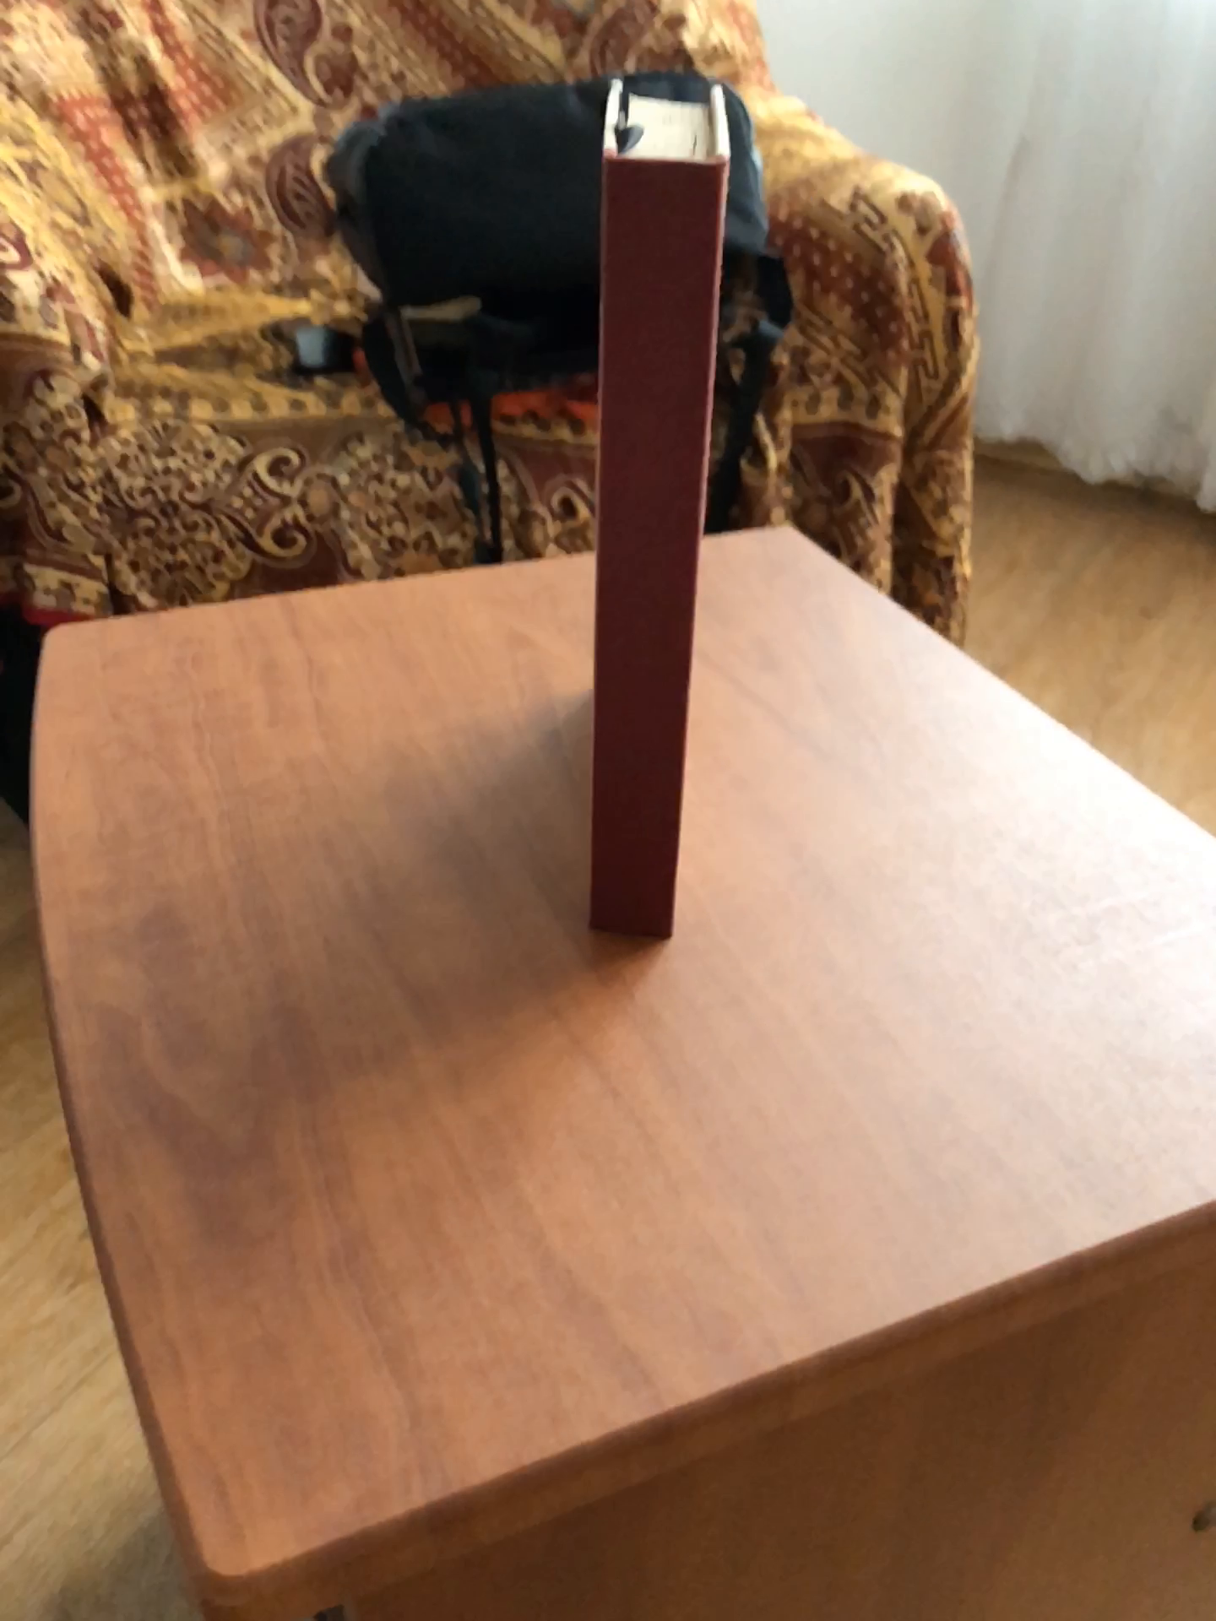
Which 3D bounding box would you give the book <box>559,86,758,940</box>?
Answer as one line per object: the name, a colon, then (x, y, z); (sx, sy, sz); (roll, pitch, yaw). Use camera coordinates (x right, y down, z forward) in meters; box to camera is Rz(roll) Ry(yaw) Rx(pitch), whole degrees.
book: (0.012, -0.093, 0.401); (0.041, 0.203, 0.163); (2, 33, 1)
